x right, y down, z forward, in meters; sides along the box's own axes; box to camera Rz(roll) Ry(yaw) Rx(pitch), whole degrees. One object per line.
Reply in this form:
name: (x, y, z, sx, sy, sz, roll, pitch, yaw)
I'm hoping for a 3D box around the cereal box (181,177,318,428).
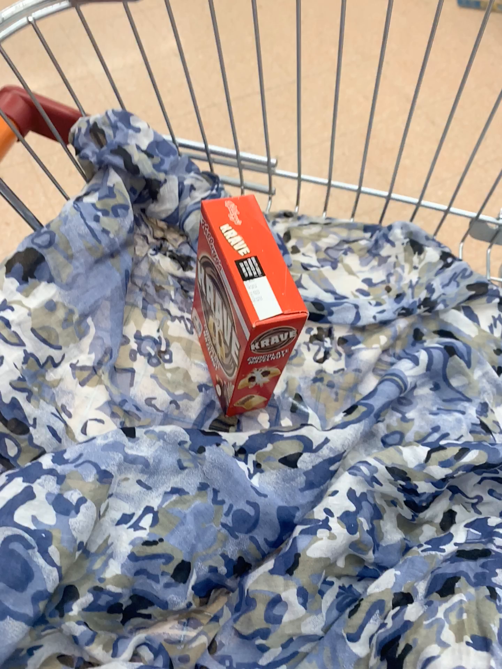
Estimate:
cereal box: (-0.011, -0.012, 0.337, 0.040, 0.149, 0.090, -13, 63, -17)
